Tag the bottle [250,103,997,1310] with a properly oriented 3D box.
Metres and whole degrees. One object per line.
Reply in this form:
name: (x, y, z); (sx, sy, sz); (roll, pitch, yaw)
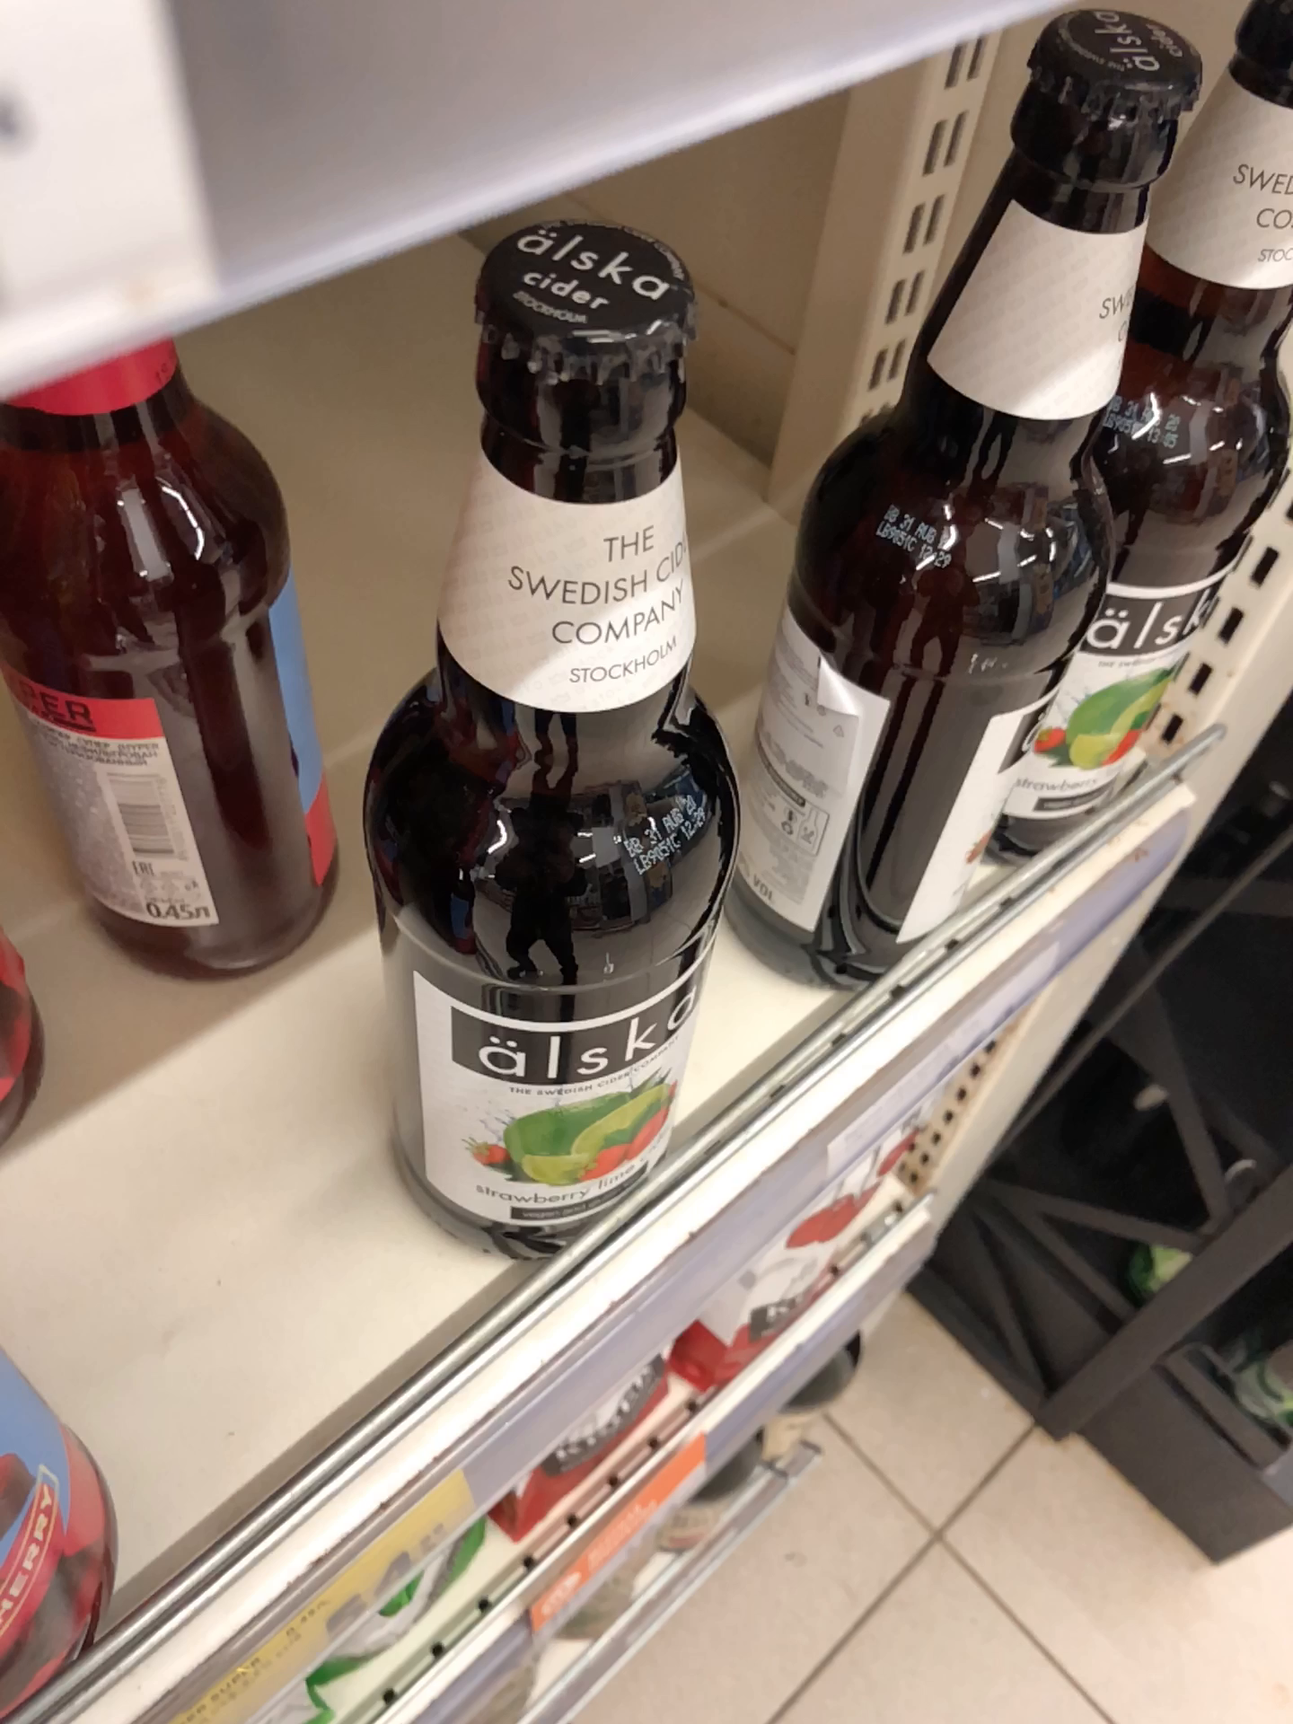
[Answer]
bottle: (-0.015, -0.001, 0.272); (0.070, 0.239, 0.070); (3, 53, -4)
